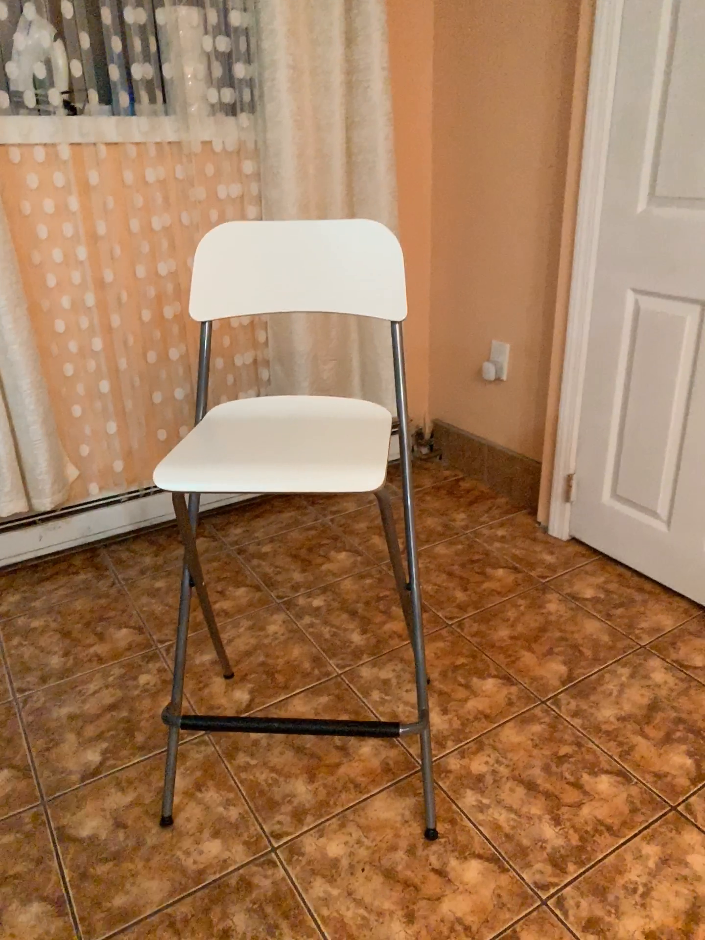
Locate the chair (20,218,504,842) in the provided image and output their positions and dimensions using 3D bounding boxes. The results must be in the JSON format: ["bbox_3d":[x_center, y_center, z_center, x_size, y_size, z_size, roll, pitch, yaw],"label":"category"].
[{"bbox_3d":[-0.106,0.087,1.330,0.598,1.007,0.545,1,24,1],"label":"chair"}]
